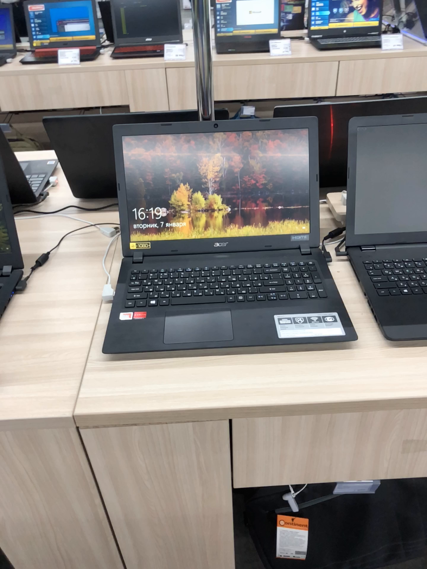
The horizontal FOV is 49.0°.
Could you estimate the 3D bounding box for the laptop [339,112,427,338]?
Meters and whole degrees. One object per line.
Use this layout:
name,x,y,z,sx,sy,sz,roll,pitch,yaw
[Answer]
laptop,0.433,-0.117,0.763,0.377,0.212,0.340,-2,36,1

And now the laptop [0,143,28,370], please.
laptop,-0.525,-0.058,0.745,0.306,0.214,0.302,-2,37,0

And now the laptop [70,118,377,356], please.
laptop,0.016,-0.103,0.777,0.373,0.208,0.369,-3,36,0
